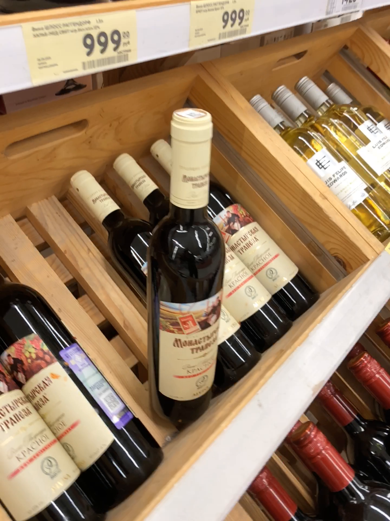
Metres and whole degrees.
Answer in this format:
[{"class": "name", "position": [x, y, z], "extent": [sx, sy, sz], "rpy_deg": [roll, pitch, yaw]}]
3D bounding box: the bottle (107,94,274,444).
[{"class": "bottle", "position": [-0.007, 0.028, 0.383], "extent": [0.080, 0.308, 0.080], "rpy_deg": [1, 38, -1]}]
